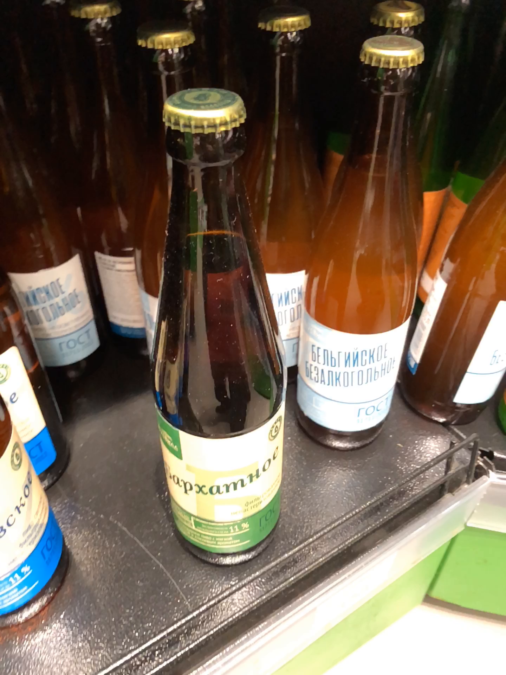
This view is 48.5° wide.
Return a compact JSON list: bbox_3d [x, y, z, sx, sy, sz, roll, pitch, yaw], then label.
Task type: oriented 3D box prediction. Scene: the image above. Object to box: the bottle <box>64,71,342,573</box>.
[{"bbox_3d":[-0.015,0.017,0.269,0.080,0.249,0.070,2,41,1],"label":"bottle"}]
